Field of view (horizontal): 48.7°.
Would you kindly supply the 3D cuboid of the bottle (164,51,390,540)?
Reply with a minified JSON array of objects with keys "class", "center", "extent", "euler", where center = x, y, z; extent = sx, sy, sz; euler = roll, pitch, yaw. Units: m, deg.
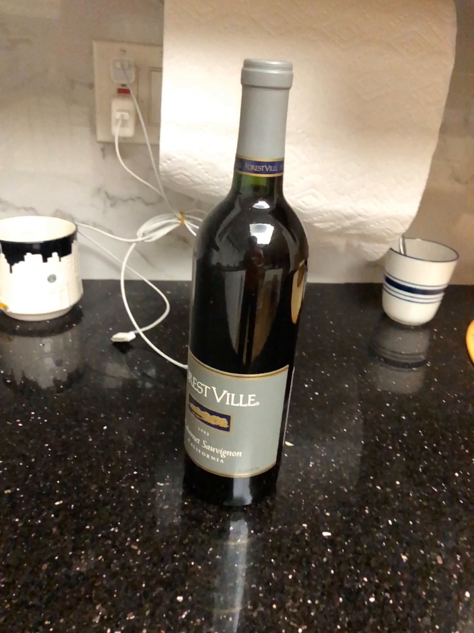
[{"class":"bottle","center":[0.015,-0.006,0.351],"extent":[0.080,0.298,0.090],"euler":[24,32,32]}]
